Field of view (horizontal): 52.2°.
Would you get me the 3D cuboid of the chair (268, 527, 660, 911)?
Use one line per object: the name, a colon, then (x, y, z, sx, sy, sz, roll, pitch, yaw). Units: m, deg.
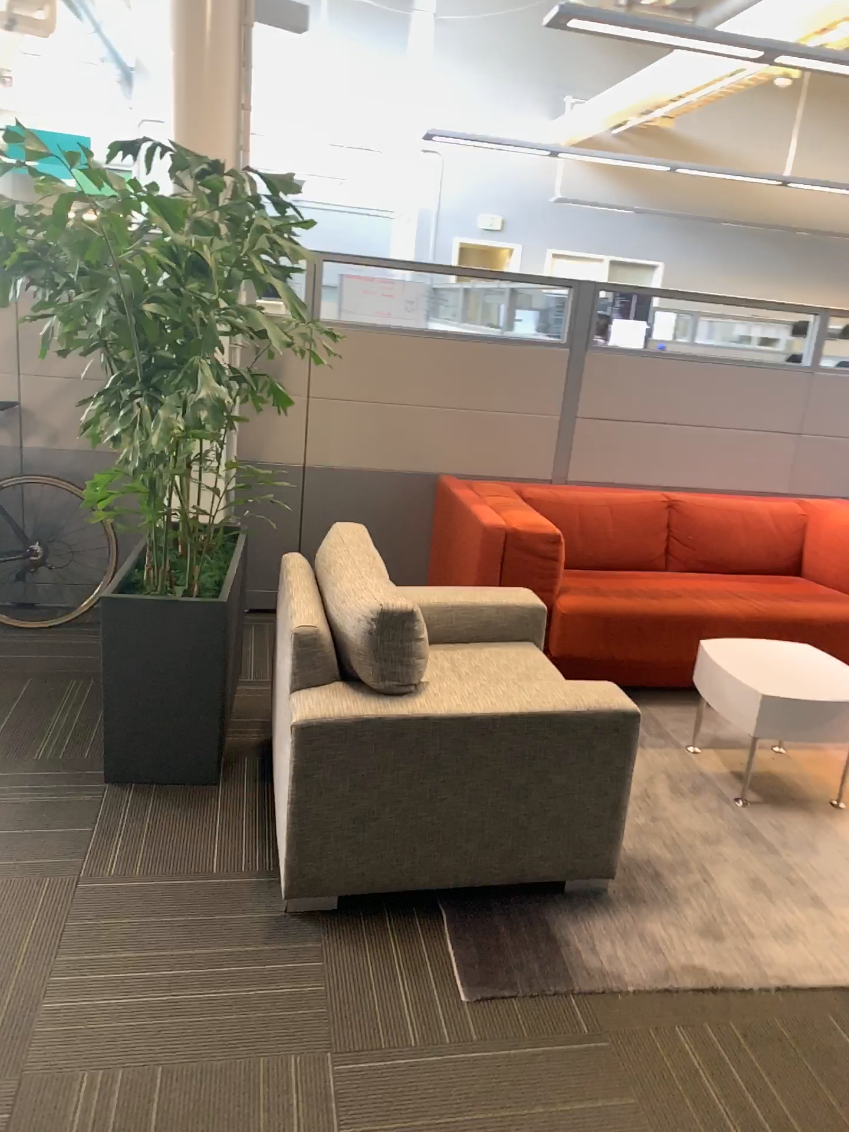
chair: (0.022, 0.373, 2.562, 0.870, 0.727, 0.924, 2, 17, -14)
